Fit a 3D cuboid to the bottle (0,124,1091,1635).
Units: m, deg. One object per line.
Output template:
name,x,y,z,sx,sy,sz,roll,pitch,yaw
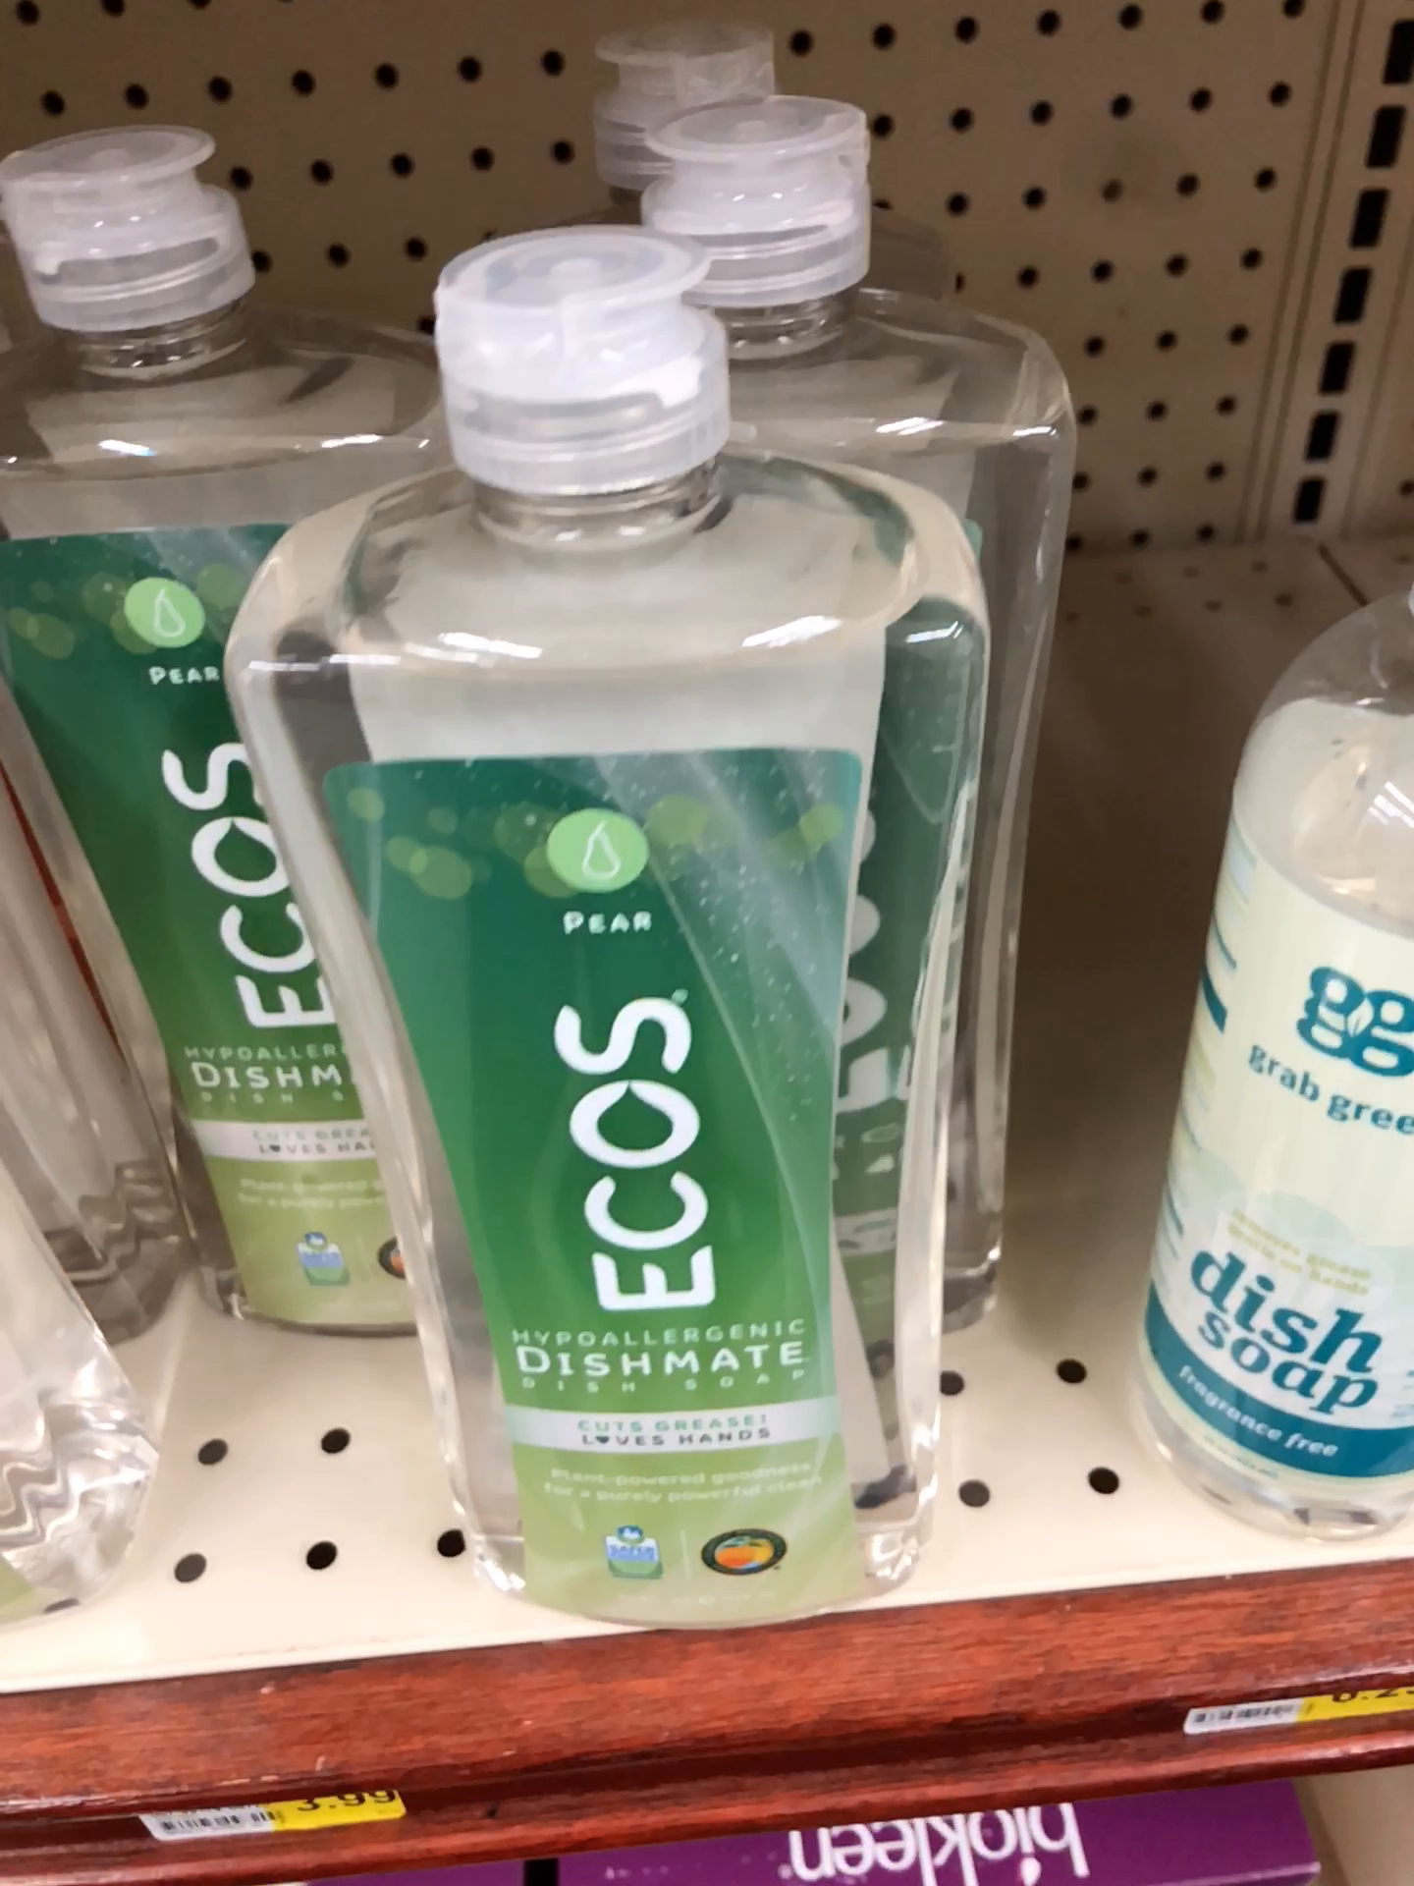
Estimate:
bottle,-0.010,0.019,0.221,0.092,0.226,0.050,-2,42,2
